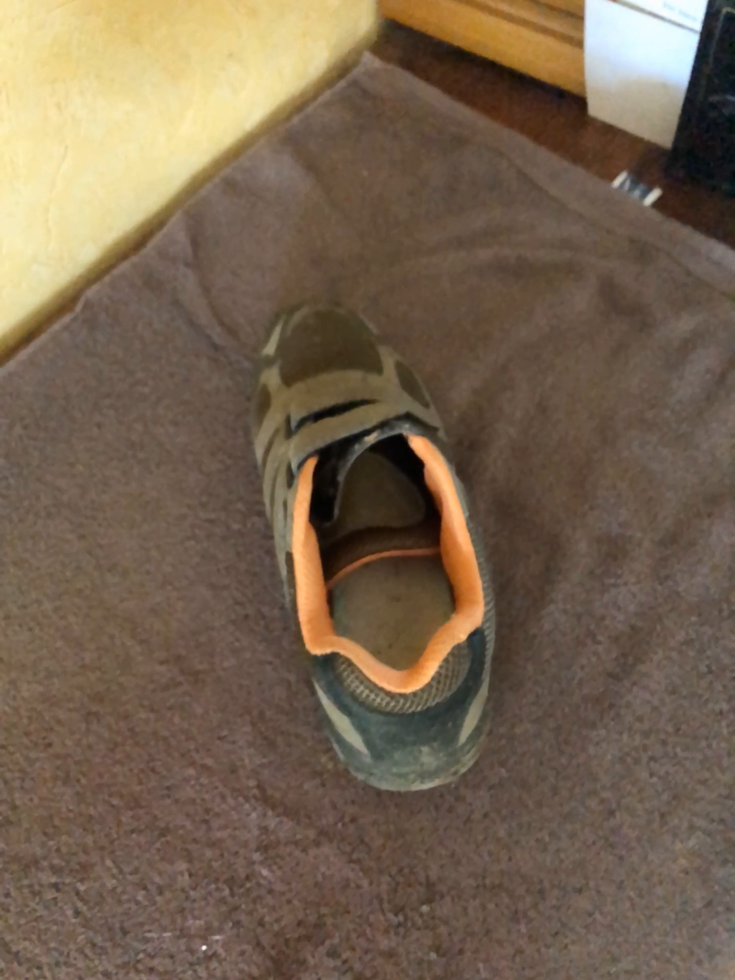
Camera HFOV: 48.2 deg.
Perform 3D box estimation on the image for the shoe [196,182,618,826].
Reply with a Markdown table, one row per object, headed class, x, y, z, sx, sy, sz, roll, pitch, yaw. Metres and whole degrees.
| class | x | y | z | sx | sy | sz | roll | pitch | yaw |
| --- | --- | --- | --- | --- | --- | --- | --- | --- | --- |
| shoe | 0.003 | -0.004 | 0.385 | 0.110 | 0.100 | 0.271 | -13 | 61 | -4 |
